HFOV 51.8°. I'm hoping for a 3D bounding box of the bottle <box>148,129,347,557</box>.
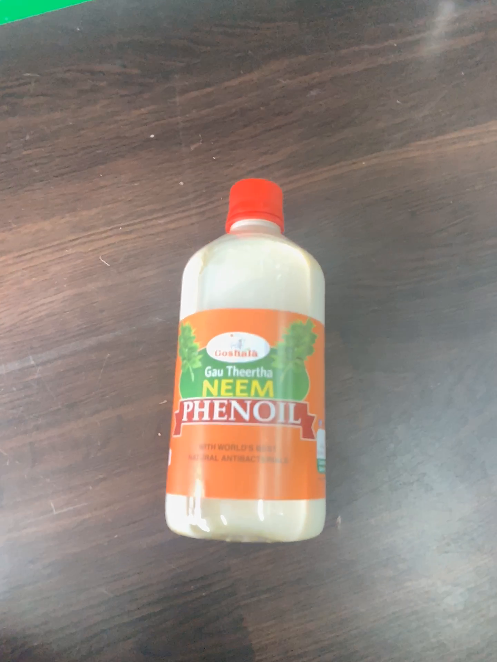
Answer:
[{"bbox_3d":[0.004,0.004,0.260,0.080,0.070,0.190,2,77,1],"label":"bottle"}]
